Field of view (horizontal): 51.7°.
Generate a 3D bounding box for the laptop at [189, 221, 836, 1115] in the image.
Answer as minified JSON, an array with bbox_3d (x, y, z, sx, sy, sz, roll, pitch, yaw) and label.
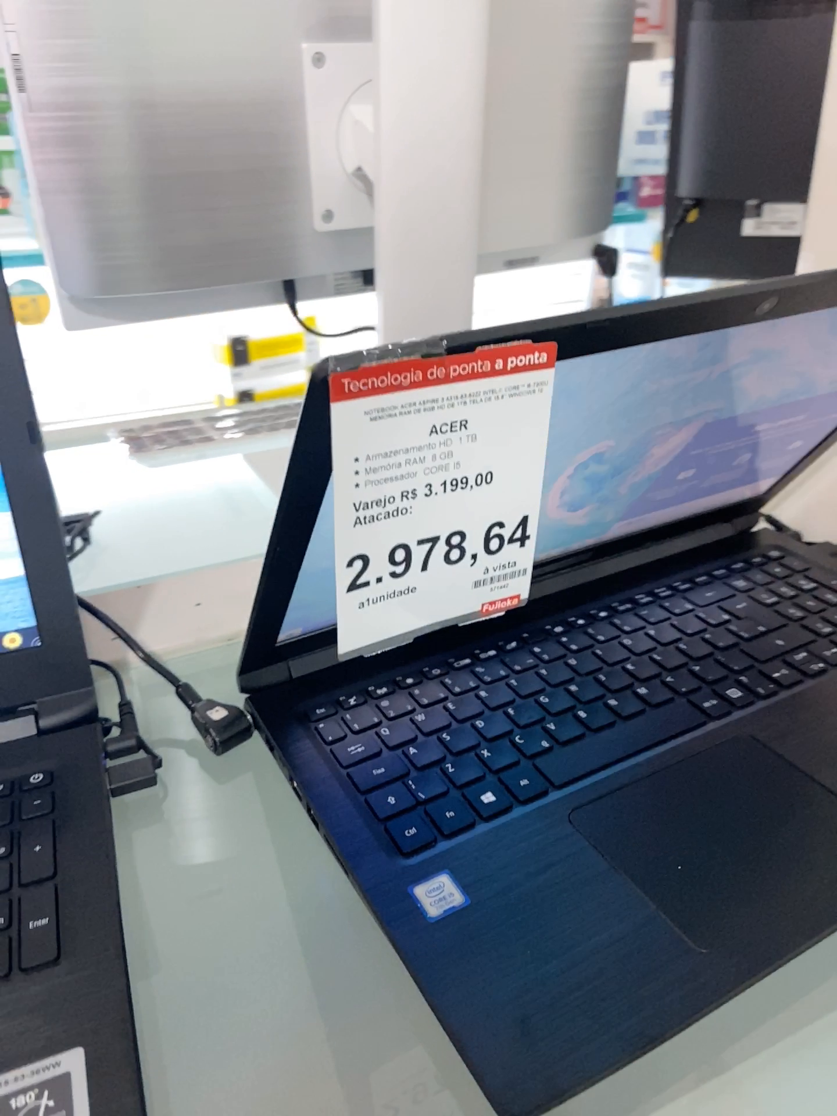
[{"bbox_3d":[0.128,-0.016,0.378,0.367,0.193,0.234,-16,30,-25],"label":"laptop"}]
